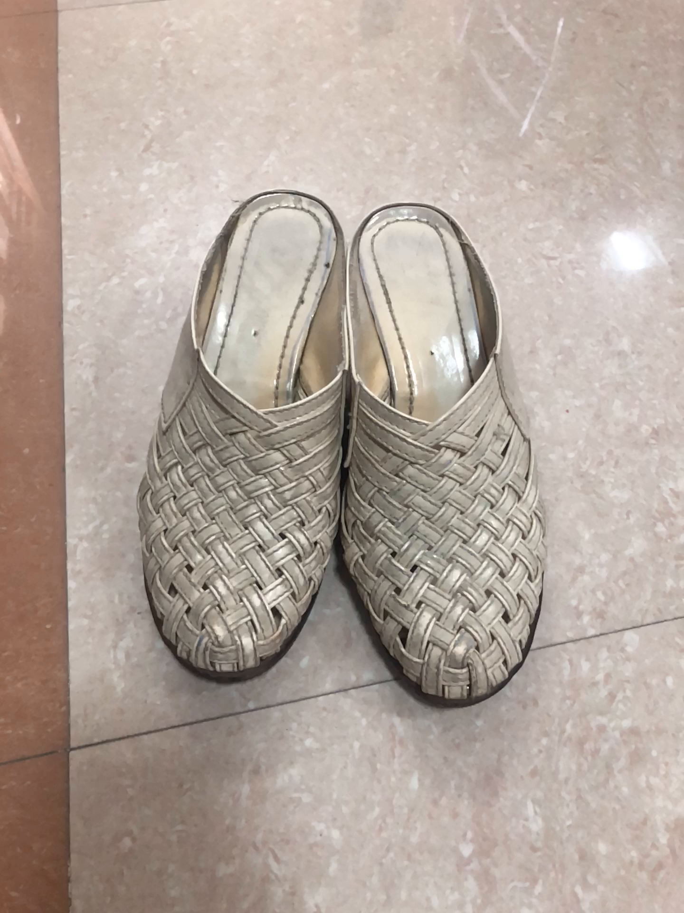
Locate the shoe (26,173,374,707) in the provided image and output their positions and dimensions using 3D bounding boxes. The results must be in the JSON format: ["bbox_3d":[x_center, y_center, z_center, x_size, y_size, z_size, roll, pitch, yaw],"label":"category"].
[{"bbox_3d":[-0.044,-0.018,0.342,0.100,0.085,0.225,4,56,2],"label":"shoe"}]

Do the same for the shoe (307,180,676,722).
[{"bbox_3d":[0.044,-0.013,0.335,0.100,0.085,0.222,-5,56,-4],"label":"shoe"}]
